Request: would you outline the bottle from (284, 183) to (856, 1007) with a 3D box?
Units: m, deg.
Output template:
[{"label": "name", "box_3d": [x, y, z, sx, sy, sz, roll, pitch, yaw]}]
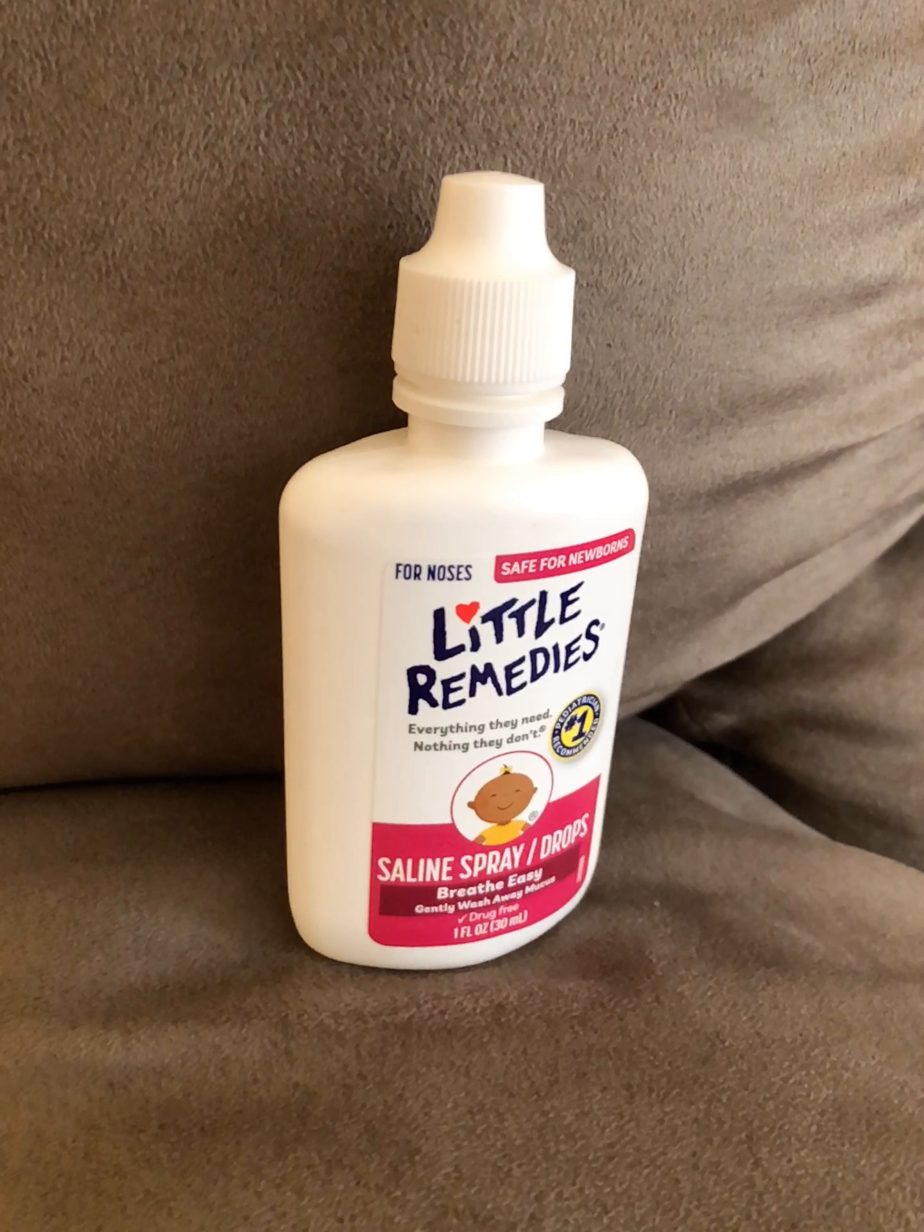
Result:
[{"label": "bottle", "box_3d": [0.008, 0.000, 0.149, 0.060, 0.110, 0.030, -5, 30, -15]}]
